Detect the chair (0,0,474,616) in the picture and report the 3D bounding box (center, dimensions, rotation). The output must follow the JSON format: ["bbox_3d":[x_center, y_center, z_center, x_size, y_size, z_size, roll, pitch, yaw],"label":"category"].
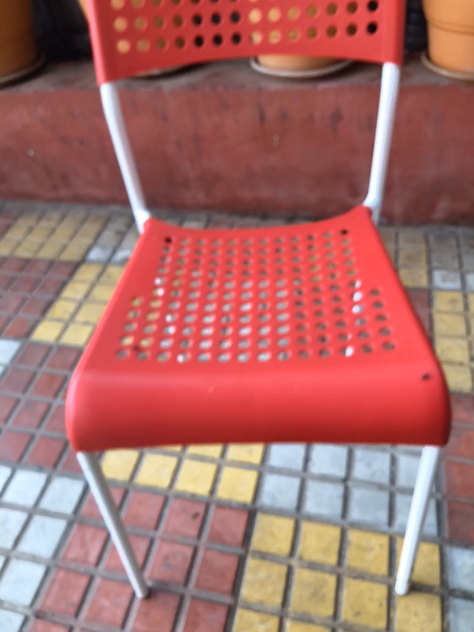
[{"bbox_3d":[0.004,-0.037,0.674,0.450,0.696,0.543,-1,44,4],"label":"chair"}]
